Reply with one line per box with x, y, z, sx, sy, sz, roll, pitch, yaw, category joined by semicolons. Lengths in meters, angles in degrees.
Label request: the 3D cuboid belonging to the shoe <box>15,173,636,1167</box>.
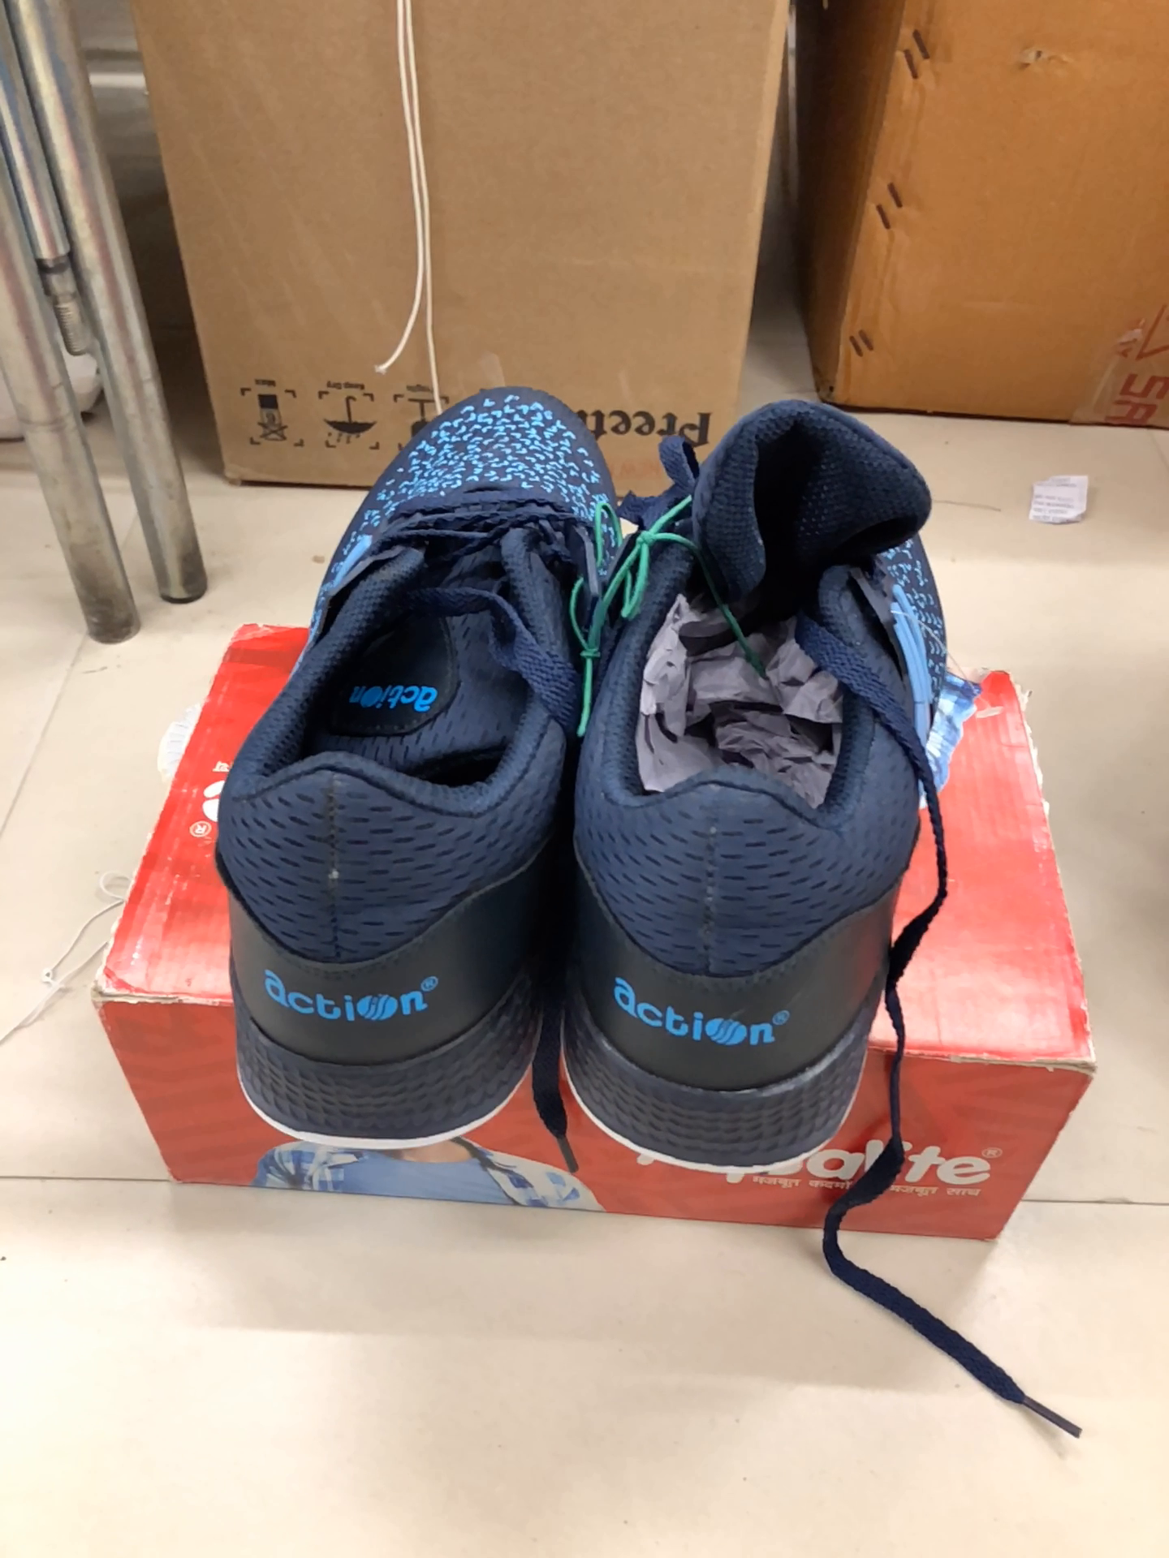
-0.044;-0.047;0.367;0.101;0.133;0.265;4;47;1;shoe

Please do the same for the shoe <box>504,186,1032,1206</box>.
0.052;-0.041;0.364;0.093;0.132;0.265;8;47;6;shoe
